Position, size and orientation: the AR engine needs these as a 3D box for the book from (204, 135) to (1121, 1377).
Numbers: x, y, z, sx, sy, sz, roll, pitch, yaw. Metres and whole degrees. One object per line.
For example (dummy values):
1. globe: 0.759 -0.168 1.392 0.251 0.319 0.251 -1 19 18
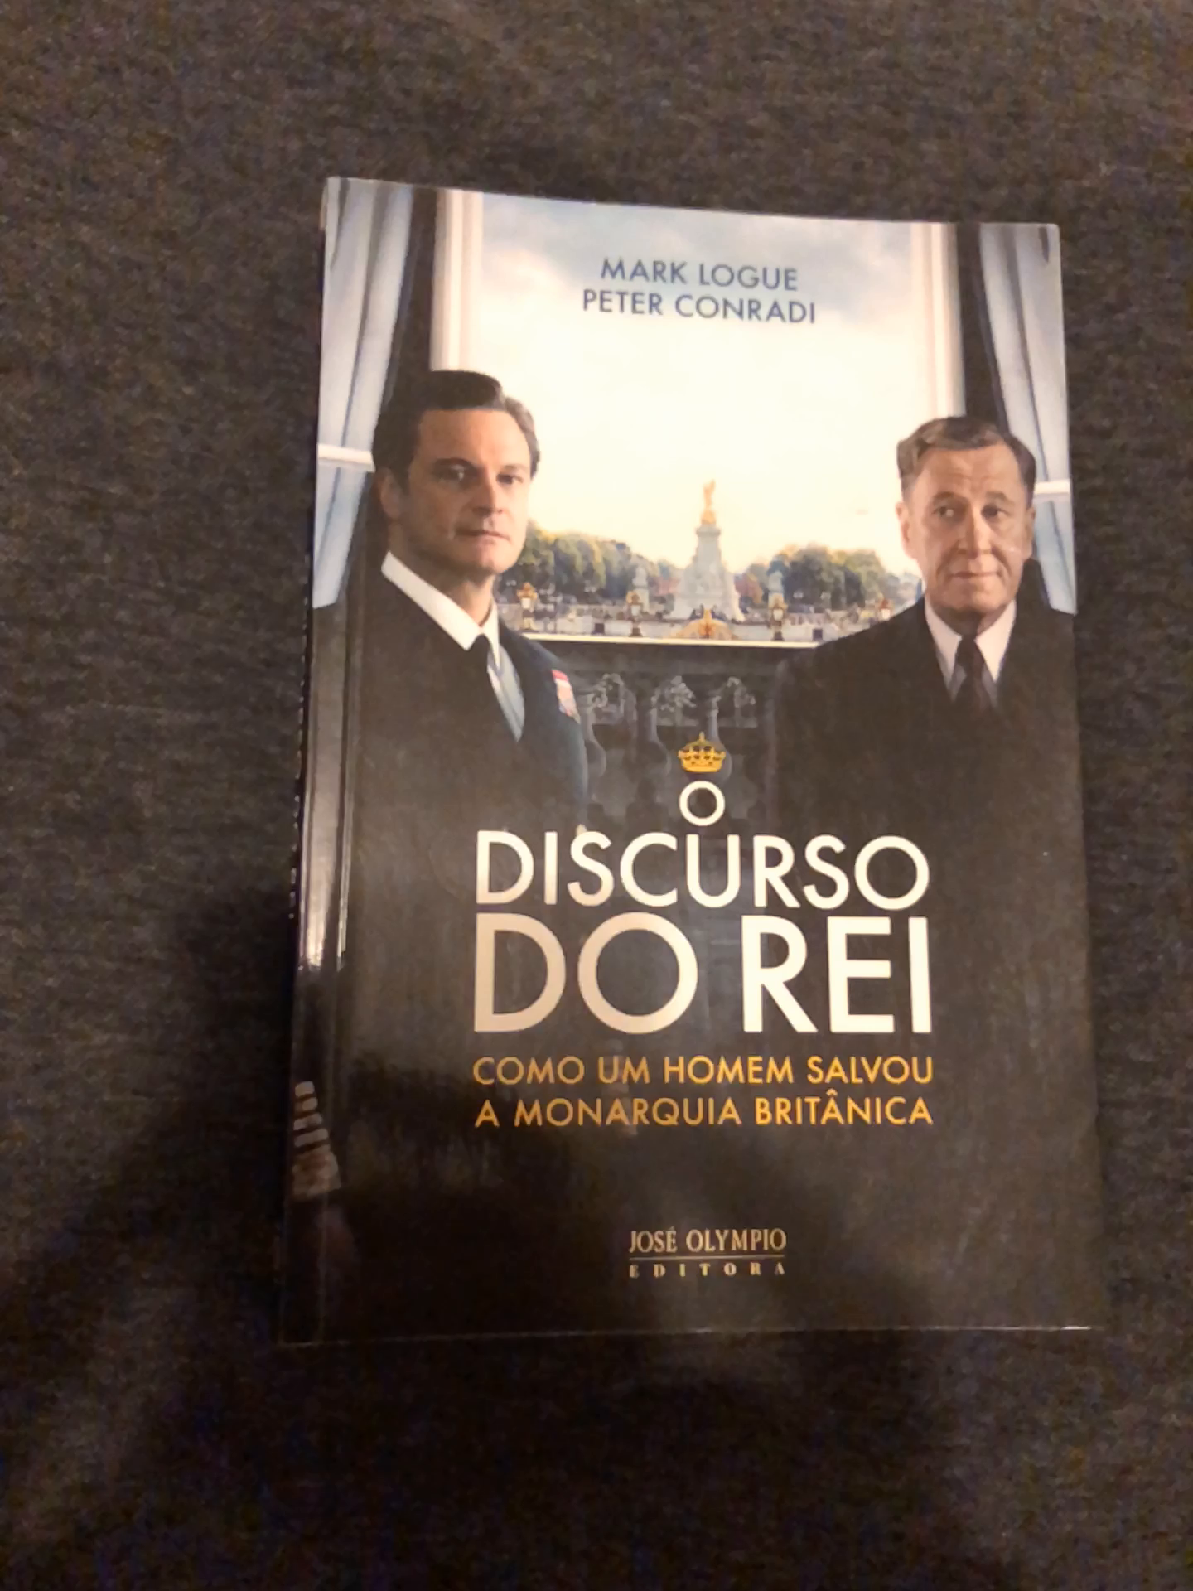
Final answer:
1. book: 0.014 -0.012 0.264 0.160 0.030 0.230 1 80 -6
